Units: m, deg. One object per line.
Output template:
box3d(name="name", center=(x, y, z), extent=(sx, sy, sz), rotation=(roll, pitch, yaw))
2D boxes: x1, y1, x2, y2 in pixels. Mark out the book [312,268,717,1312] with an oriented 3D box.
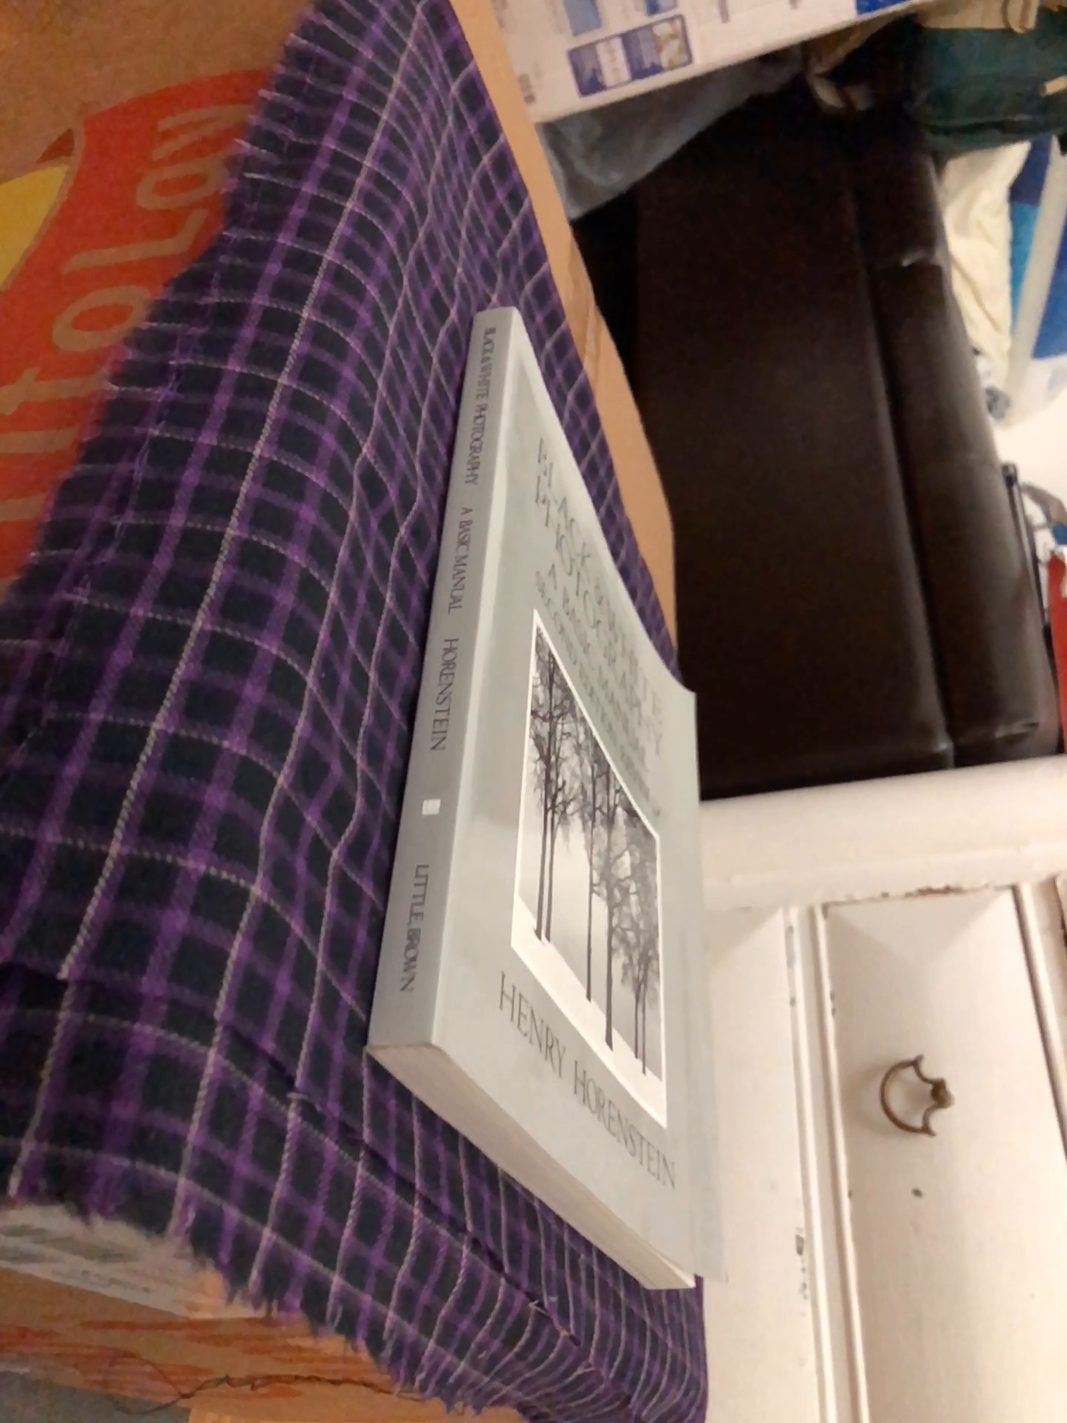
box3d(name="book", center=(0.015, 0.027, 0.370), extent=(0.210, 0.030, 0.251), rotation=(61, 26, -48))
